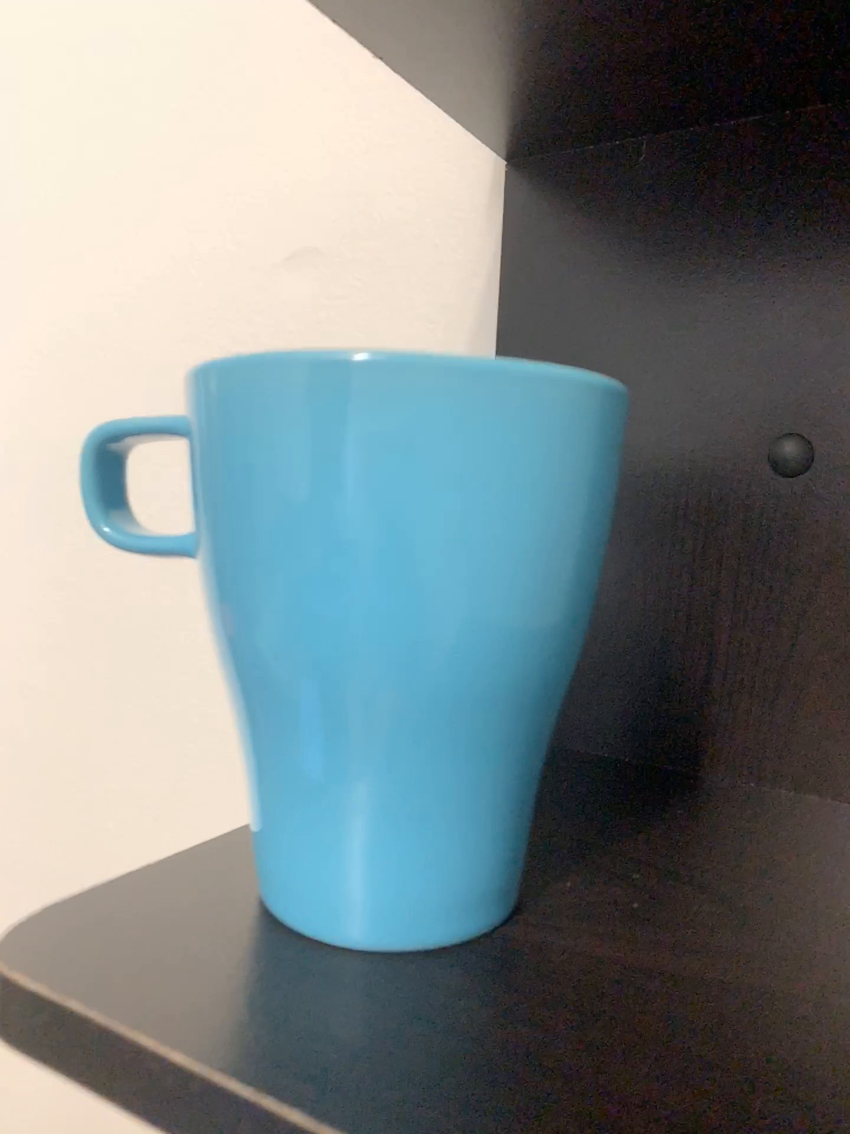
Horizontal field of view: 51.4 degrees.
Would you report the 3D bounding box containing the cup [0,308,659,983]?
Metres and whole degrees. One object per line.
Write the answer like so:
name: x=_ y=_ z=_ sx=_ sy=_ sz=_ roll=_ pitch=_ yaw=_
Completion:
cup: x=-0.021 y=0.007 z=0.171 sx=0.110 sy=0.090 sz=0.090 roll=3 pitch=3 yaw=6
